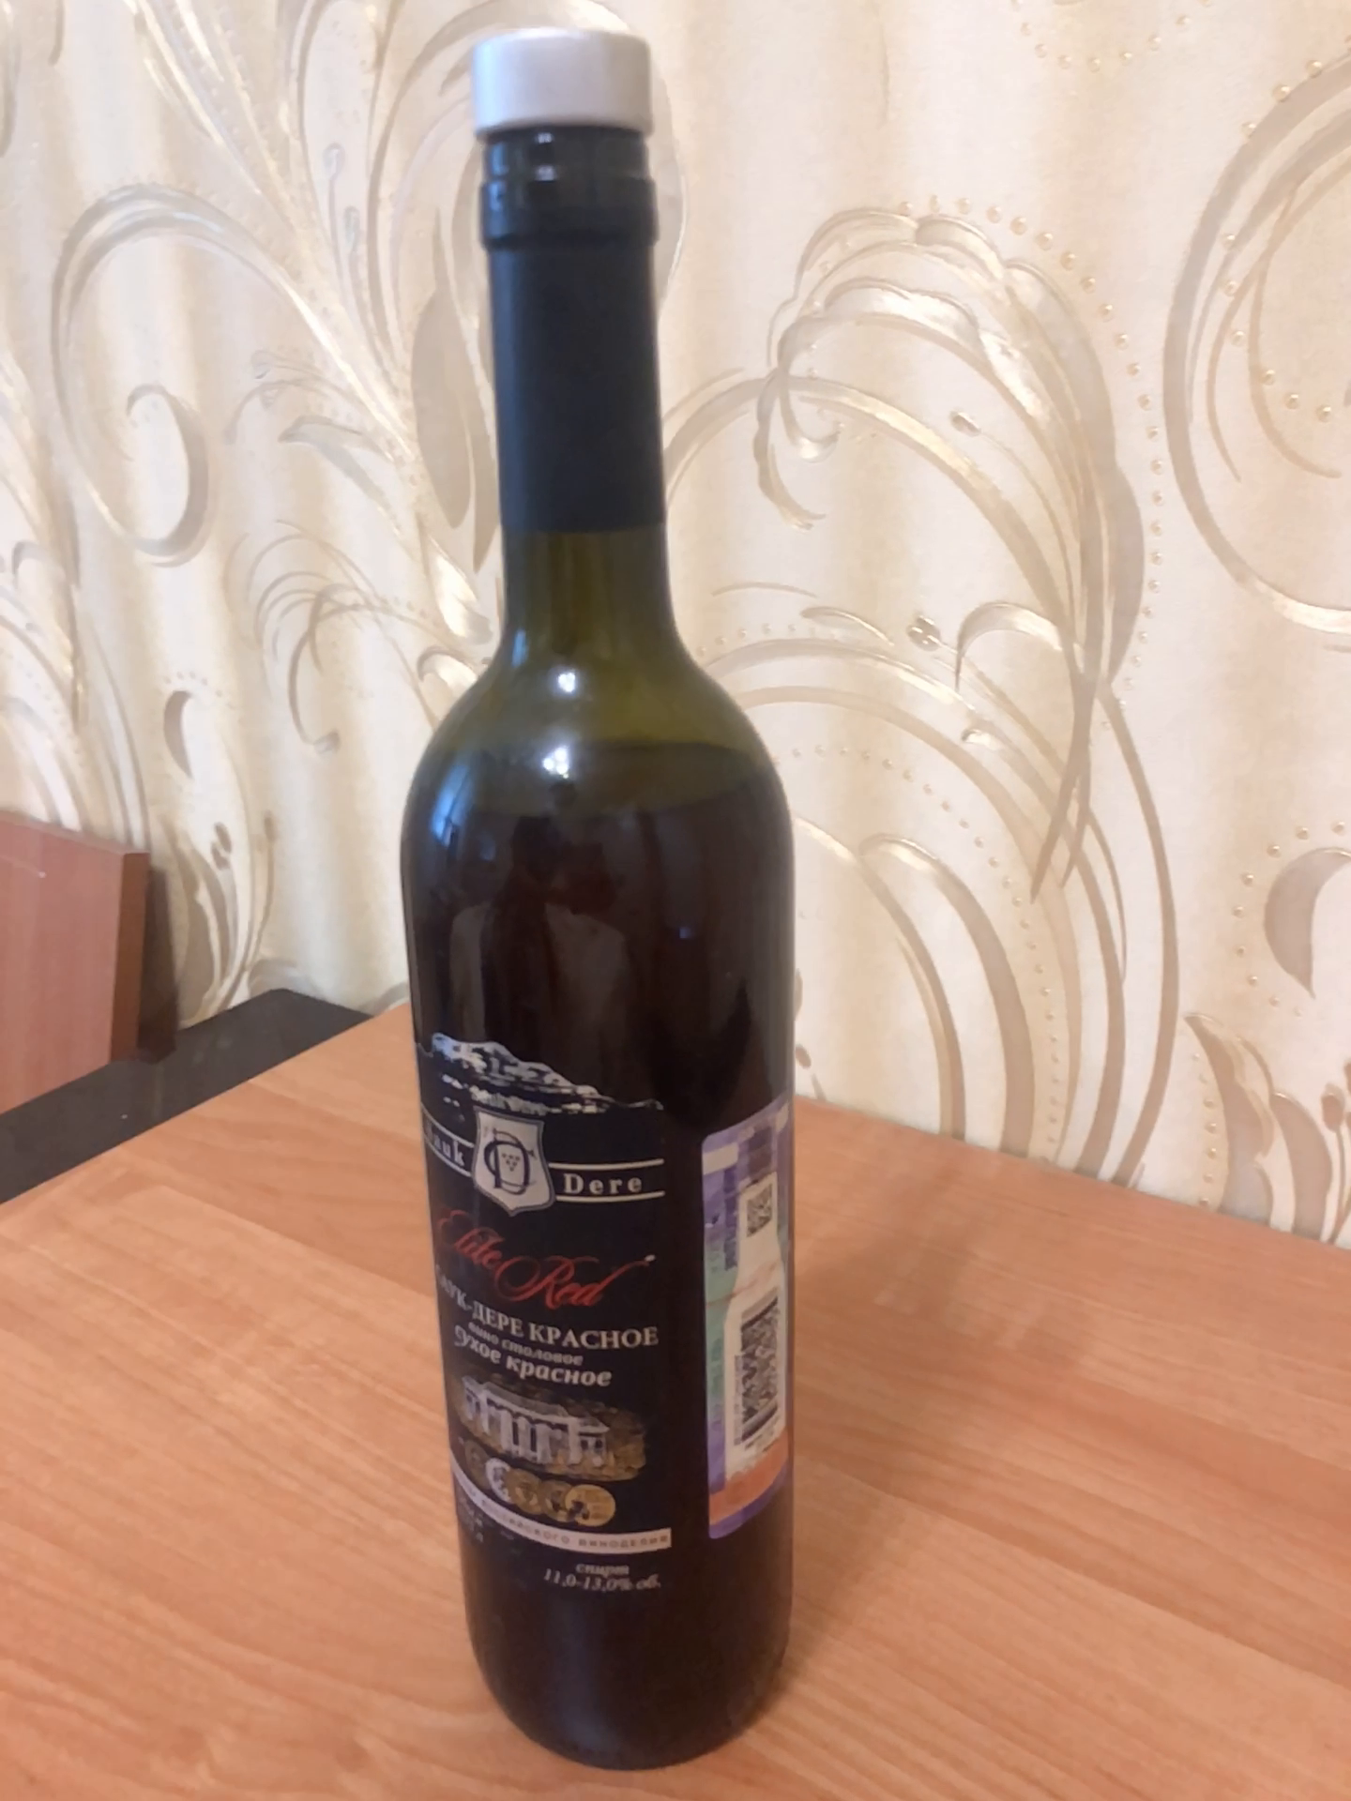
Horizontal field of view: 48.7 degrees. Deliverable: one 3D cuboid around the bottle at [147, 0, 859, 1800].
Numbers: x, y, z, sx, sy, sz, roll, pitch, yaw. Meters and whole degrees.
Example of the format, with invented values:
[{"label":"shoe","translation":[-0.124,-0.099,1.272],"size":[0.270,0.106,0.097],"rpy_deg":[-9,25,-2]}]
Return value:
[{"label":"bottle","translation":[-0.021,0.013,0.286],"size":[0.083,0.322,0.074],"rpy_deg":[12,24,35]}]
